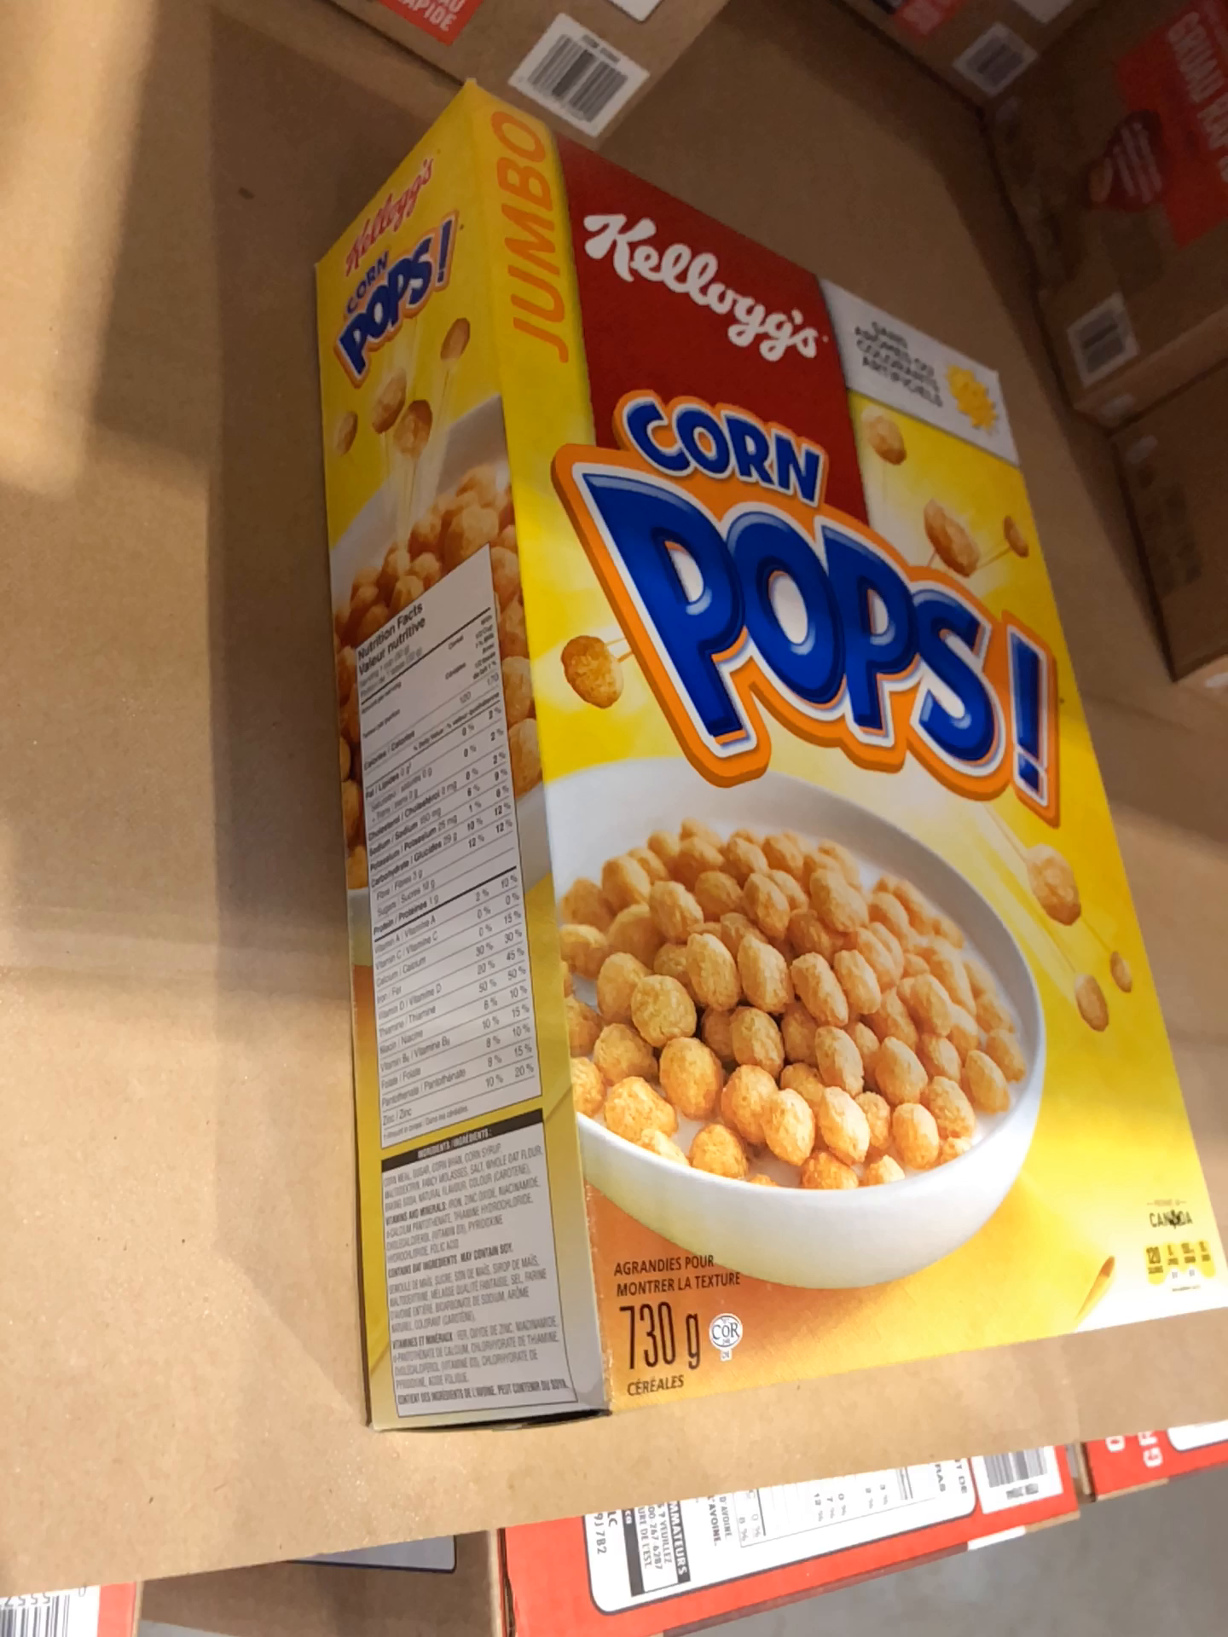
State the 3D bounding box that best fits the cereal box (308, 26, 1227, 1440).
[{"bbox_3d":[0.059,-0.016,0.418,0.271,0.100,0.340,10,62,-38],"label":"cereal box"}]
